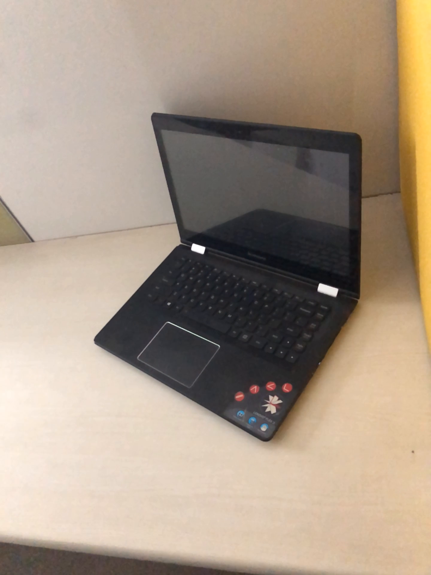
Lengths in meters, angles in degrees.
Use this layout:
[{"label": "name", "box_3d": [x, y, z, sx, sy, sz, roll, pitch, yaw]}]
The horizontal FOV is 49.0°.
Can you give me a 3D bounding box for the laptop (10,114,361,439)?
[{"label": "laptop", "box_3d": [-0.022, -0.038, 0.616, 0.312, 0.225, 0.264, 21, 59, 36]}]
